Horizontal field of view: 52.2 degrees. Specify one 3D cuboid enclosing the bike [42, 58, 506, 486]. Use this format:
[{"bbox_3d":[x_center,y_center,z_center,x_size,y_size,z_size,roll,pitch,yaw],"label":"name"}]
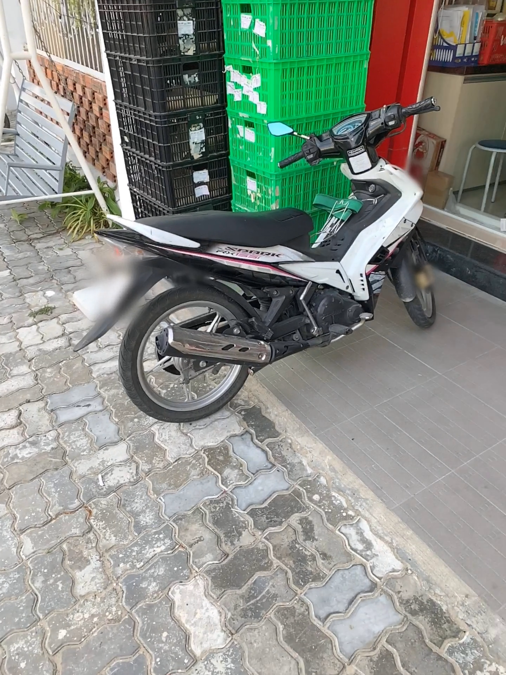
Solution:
[{"bbox_3d":[0.187,-0.444,2.276,1.817,1.186,0.669,-25,40,-31],"label":"bike"}]
